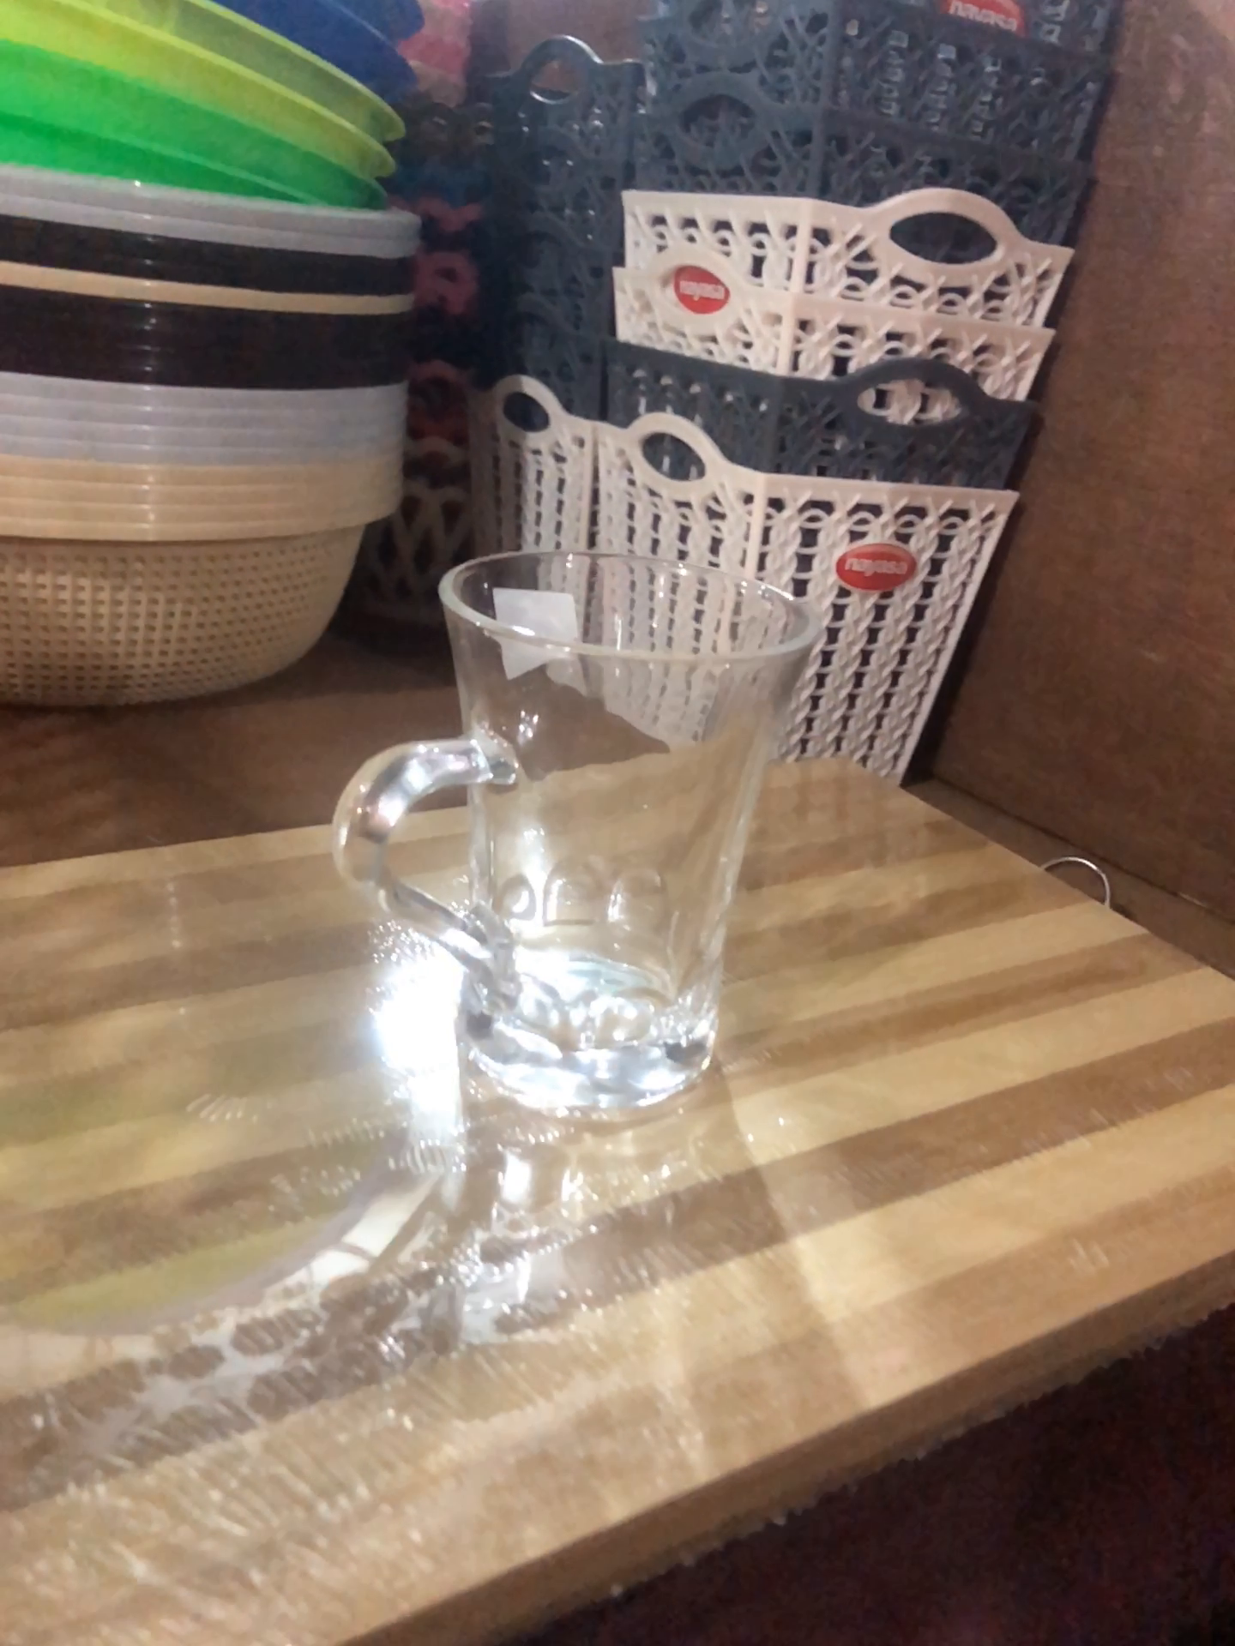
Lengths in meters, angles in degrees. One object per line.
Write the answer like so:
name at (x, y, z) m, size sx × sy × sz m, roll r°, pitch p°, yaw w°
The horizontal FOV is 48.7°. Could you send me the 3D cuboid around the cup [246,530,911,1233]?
cup at (-0.010, 0.002, 0.239) m, size 0.090 × 0.090 × 0.060 m, roll -12°, pitch 30°, yaw -36°
